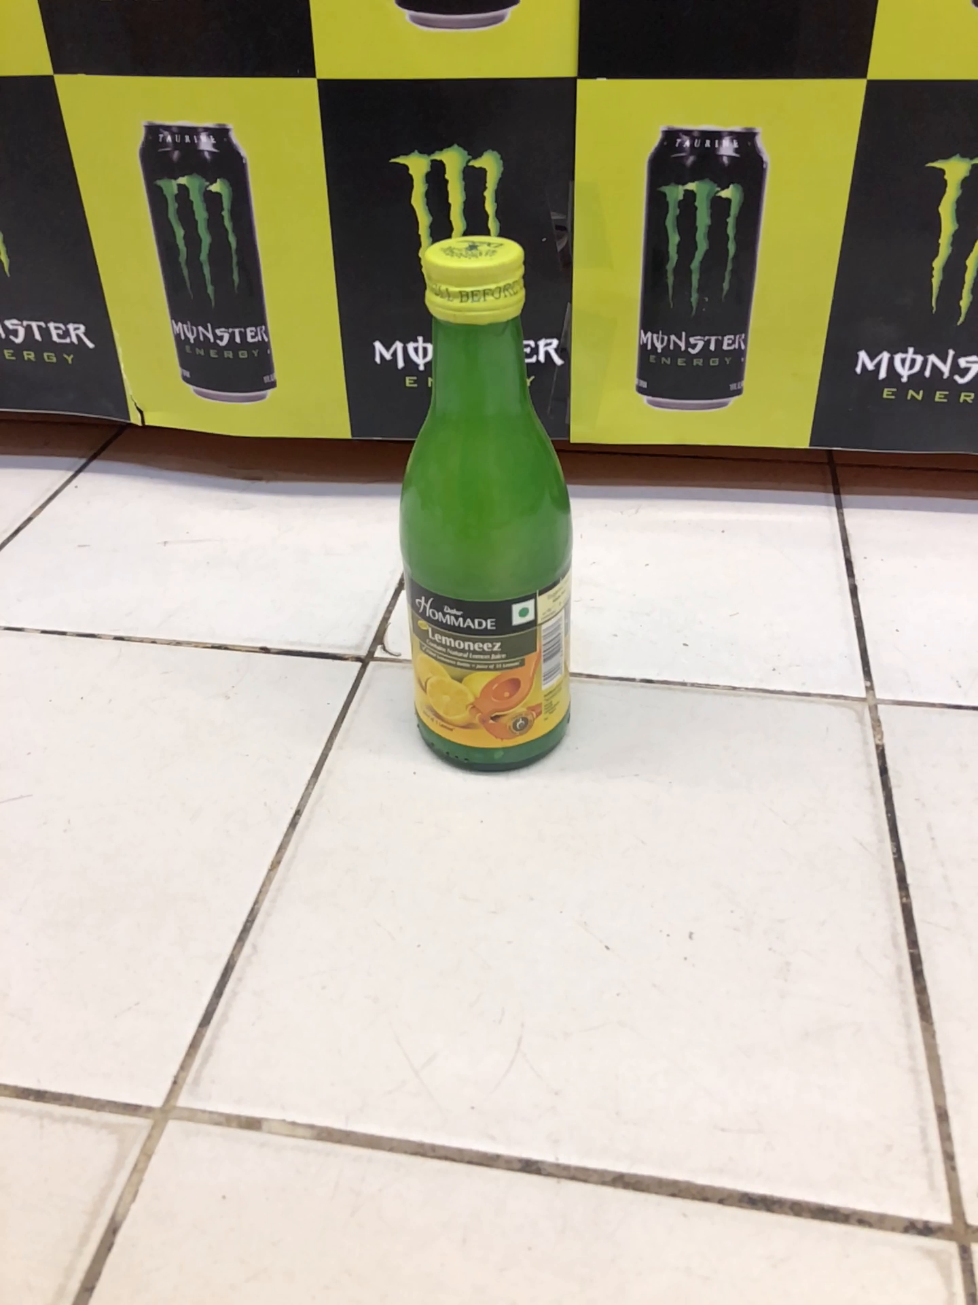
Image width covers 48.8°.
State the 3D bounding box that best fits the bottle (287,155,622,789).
[{"bbox_3d":[-0.004,-0.053,0.344,0.070,0.179,0.071,-1,35,1],"label":"bottle"}]
